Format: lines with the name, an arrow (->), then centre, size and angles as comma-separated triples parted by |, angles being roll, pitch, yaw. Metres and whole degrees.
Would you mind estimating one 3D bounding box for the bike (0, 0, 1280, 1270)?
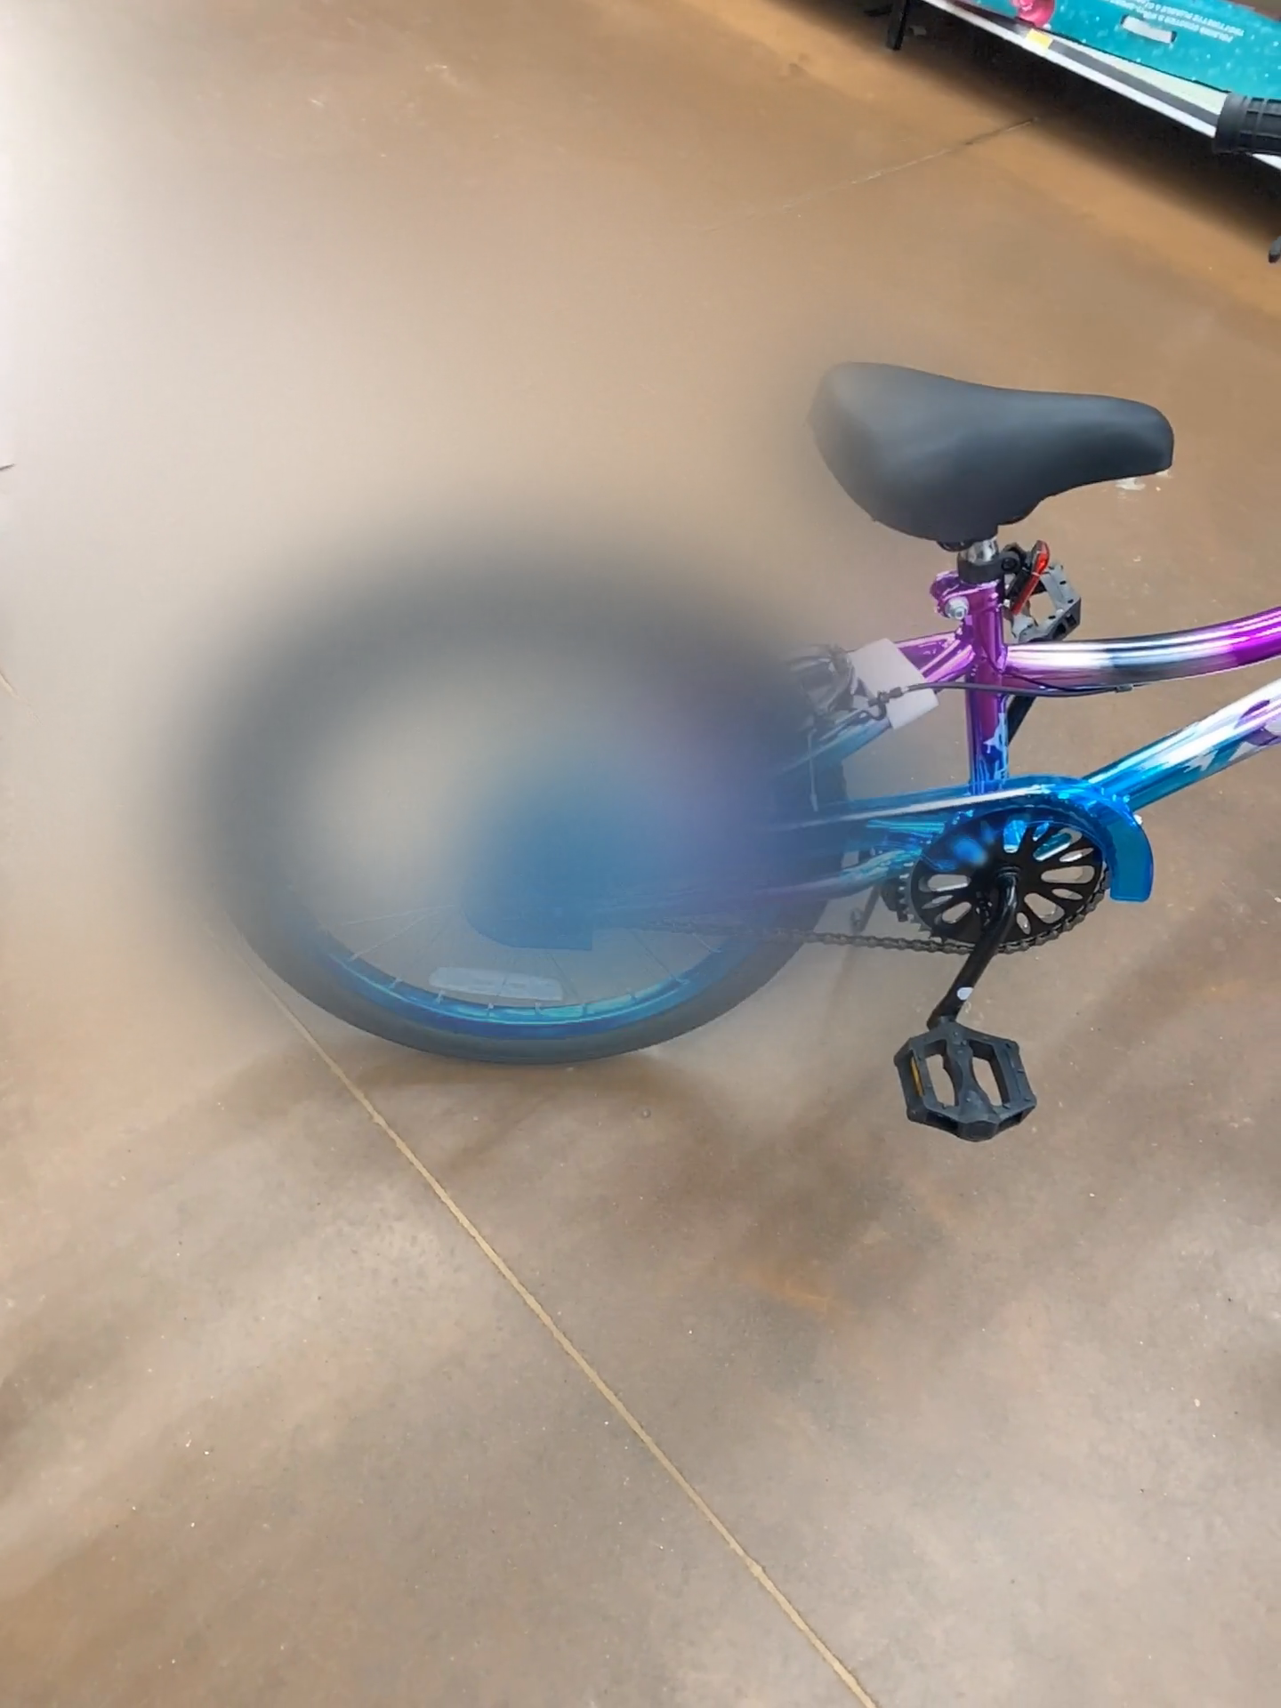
bike -> 0.171, -0.201, 0.879 | 0.933, 0.931, 0.580 | 6, 50, -6
